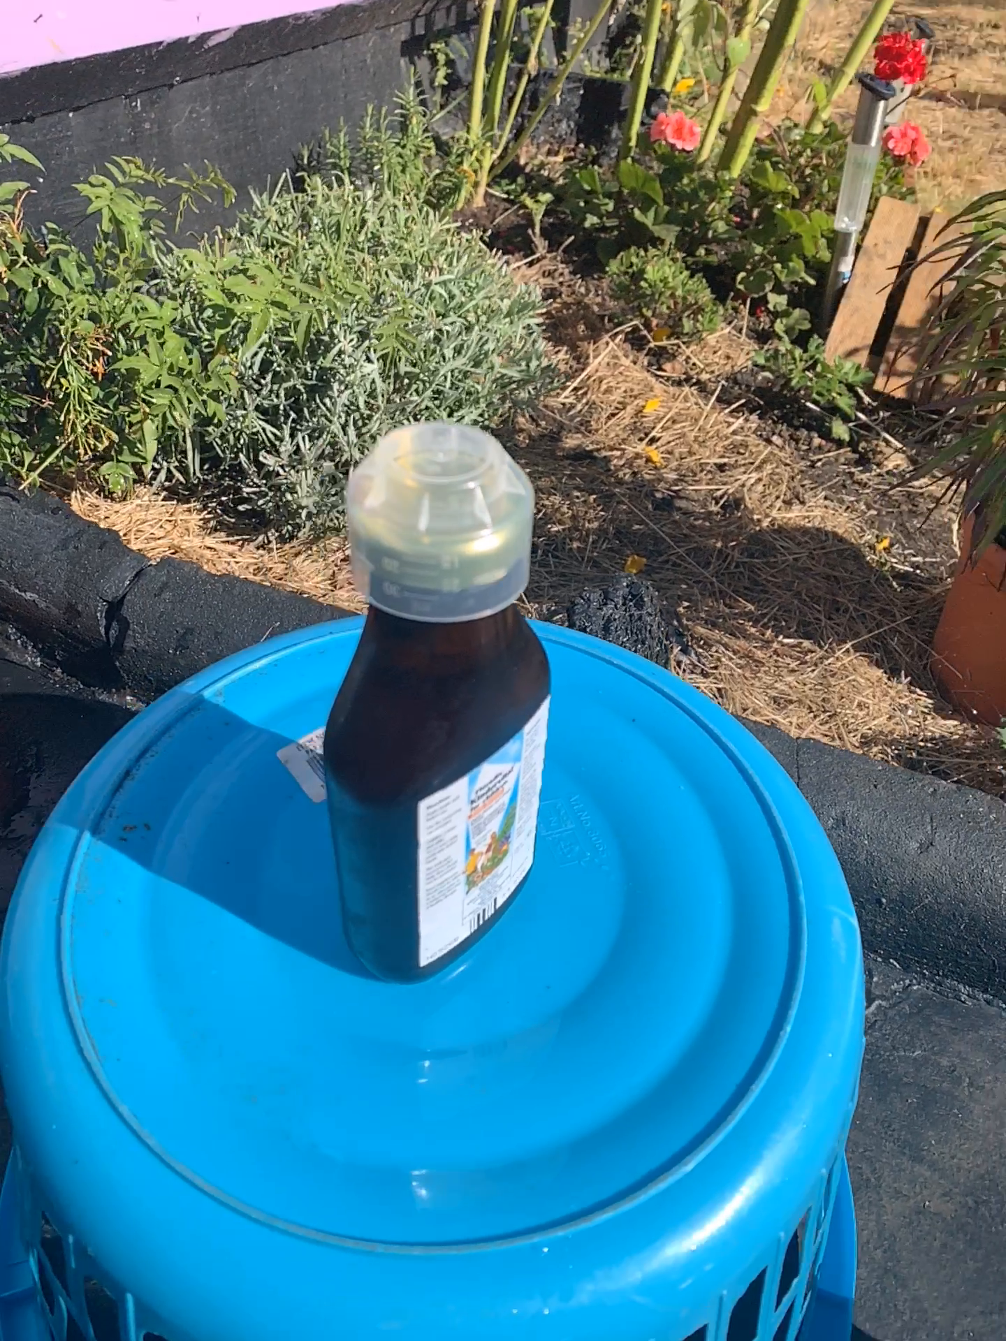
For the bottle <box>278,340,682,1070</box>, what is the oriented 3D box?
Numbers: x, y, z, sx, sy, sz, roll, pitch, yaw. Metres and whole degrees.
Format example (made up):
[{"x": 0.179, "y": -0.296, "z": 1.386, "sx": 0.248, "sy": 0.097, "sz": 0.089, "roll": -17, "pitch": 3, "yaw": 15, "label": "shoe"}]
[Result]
[{"x": -0.011, "y": 0.019, "z": 0.295, "sx": 0.050, "sy": 0.198, "sz": 0.080, "roll": 32, "pitch": 46, "yaw": 28, "label": "bottle"}]
